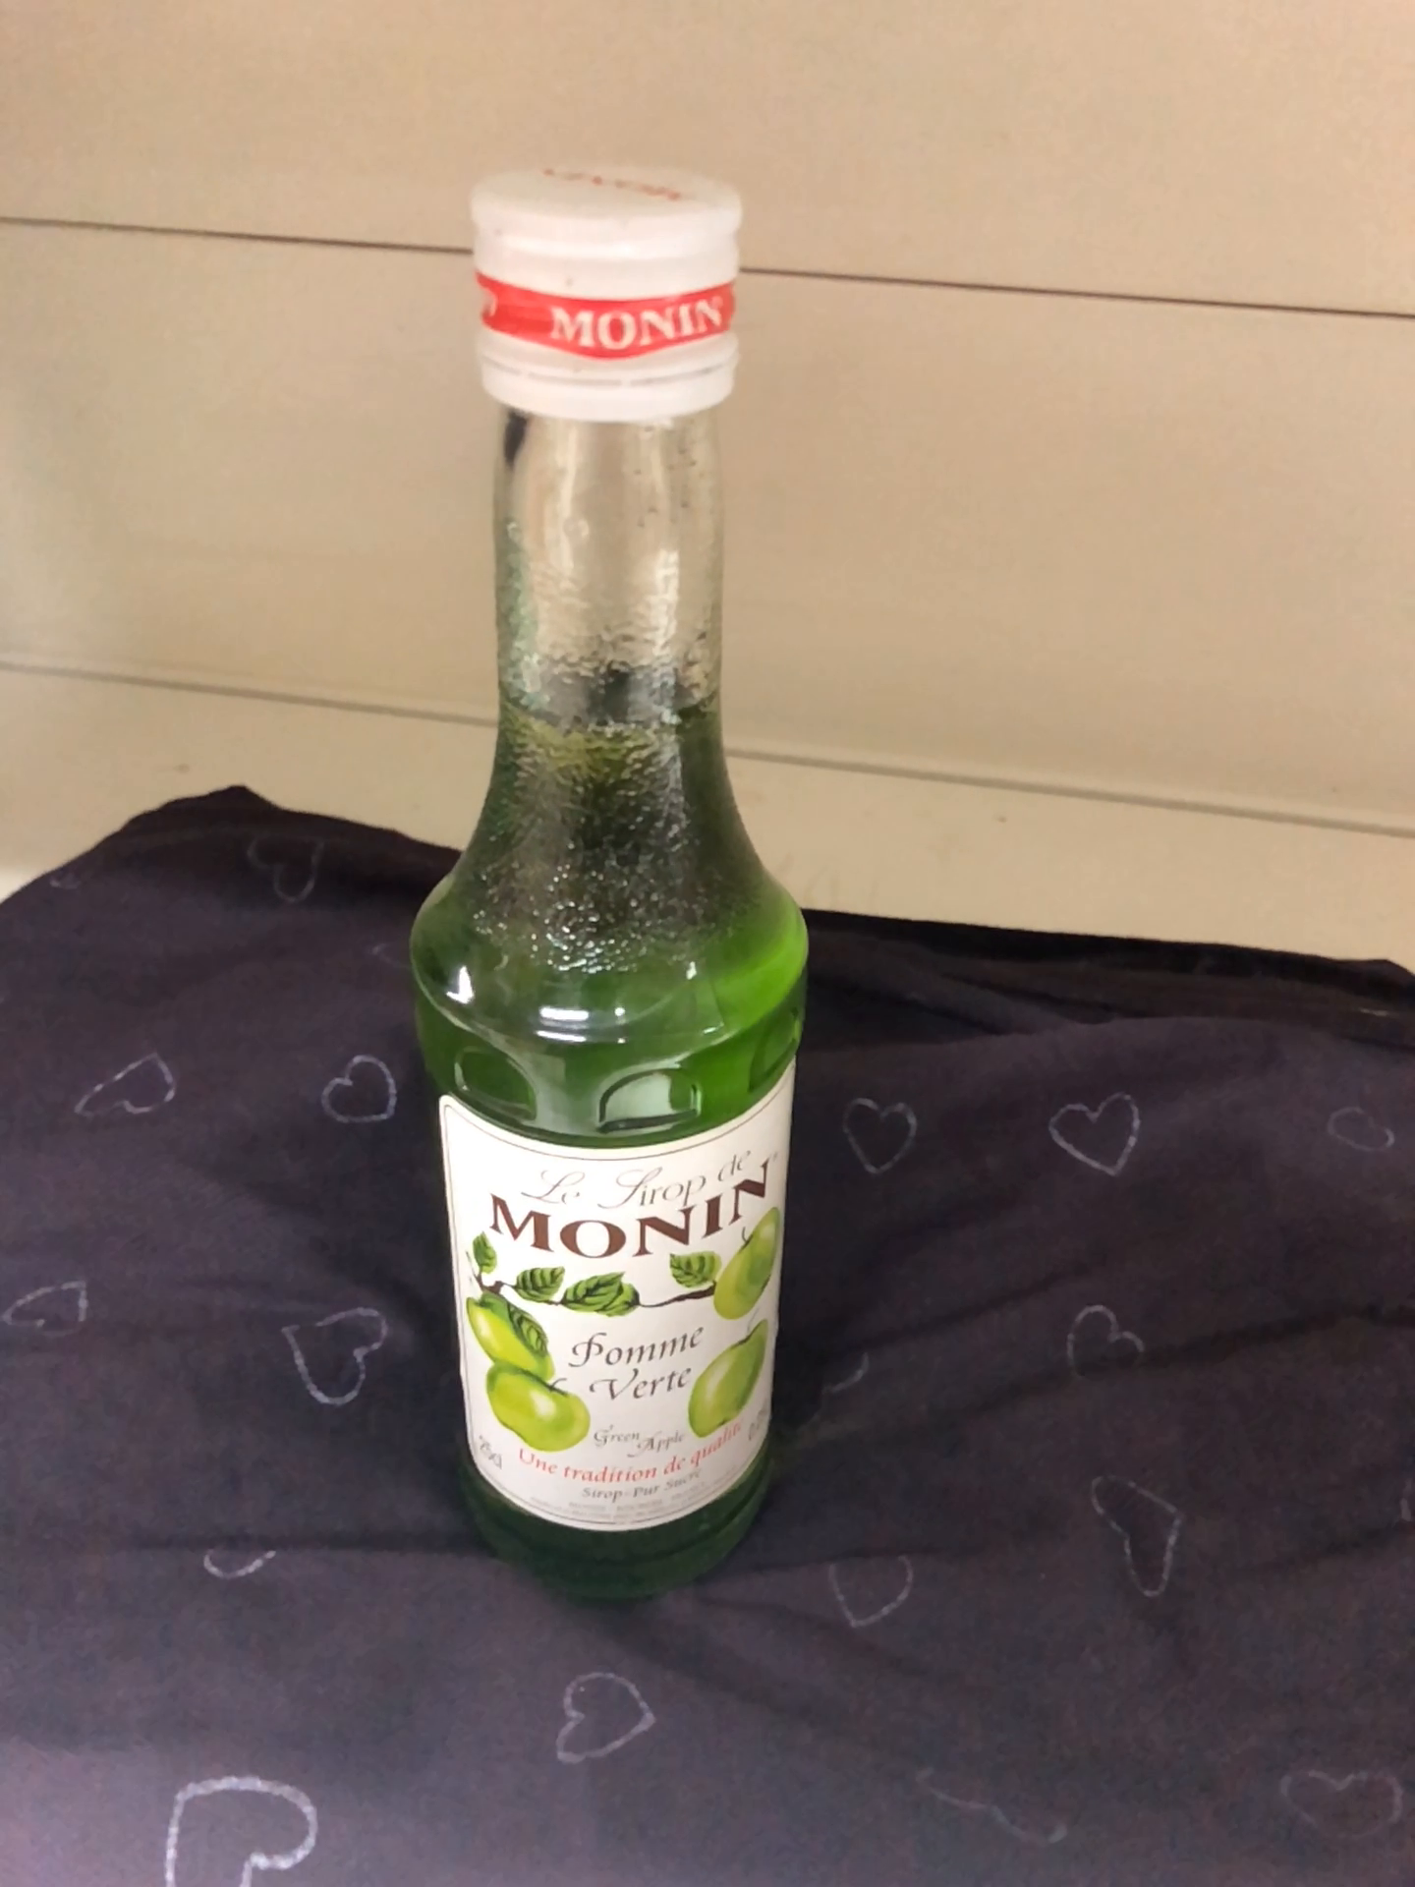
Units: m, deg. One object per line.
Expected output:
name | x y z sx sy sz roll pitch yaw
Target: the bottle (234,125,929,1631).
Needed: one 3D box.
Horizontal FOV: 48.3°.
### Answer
bottle | -0.016 0.004 0.215 0.060 0.199 0.060 1 33 -1
